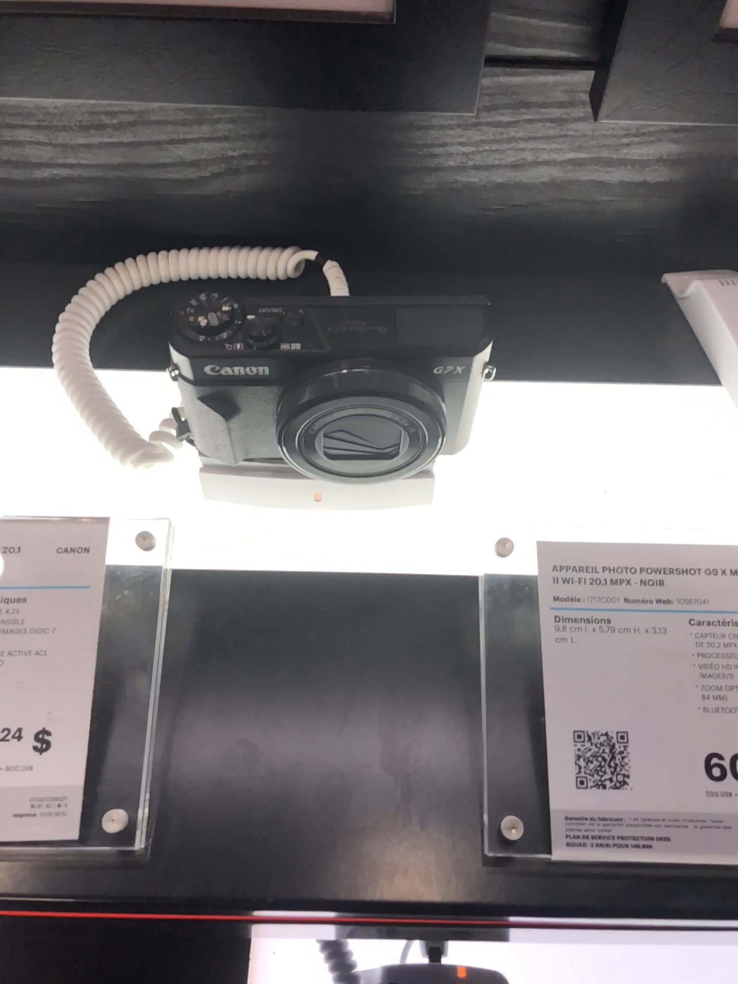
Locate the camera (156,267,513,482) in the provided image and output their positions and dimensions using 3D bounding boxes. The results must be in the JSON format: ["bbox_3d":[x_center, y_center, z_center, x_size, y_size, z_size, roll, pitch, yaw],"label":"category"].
[{"bbox_3d":[-0.012,-0.039,0.294,0.110,0.079,0.030,0,56,-2],"label":"camera"}]
